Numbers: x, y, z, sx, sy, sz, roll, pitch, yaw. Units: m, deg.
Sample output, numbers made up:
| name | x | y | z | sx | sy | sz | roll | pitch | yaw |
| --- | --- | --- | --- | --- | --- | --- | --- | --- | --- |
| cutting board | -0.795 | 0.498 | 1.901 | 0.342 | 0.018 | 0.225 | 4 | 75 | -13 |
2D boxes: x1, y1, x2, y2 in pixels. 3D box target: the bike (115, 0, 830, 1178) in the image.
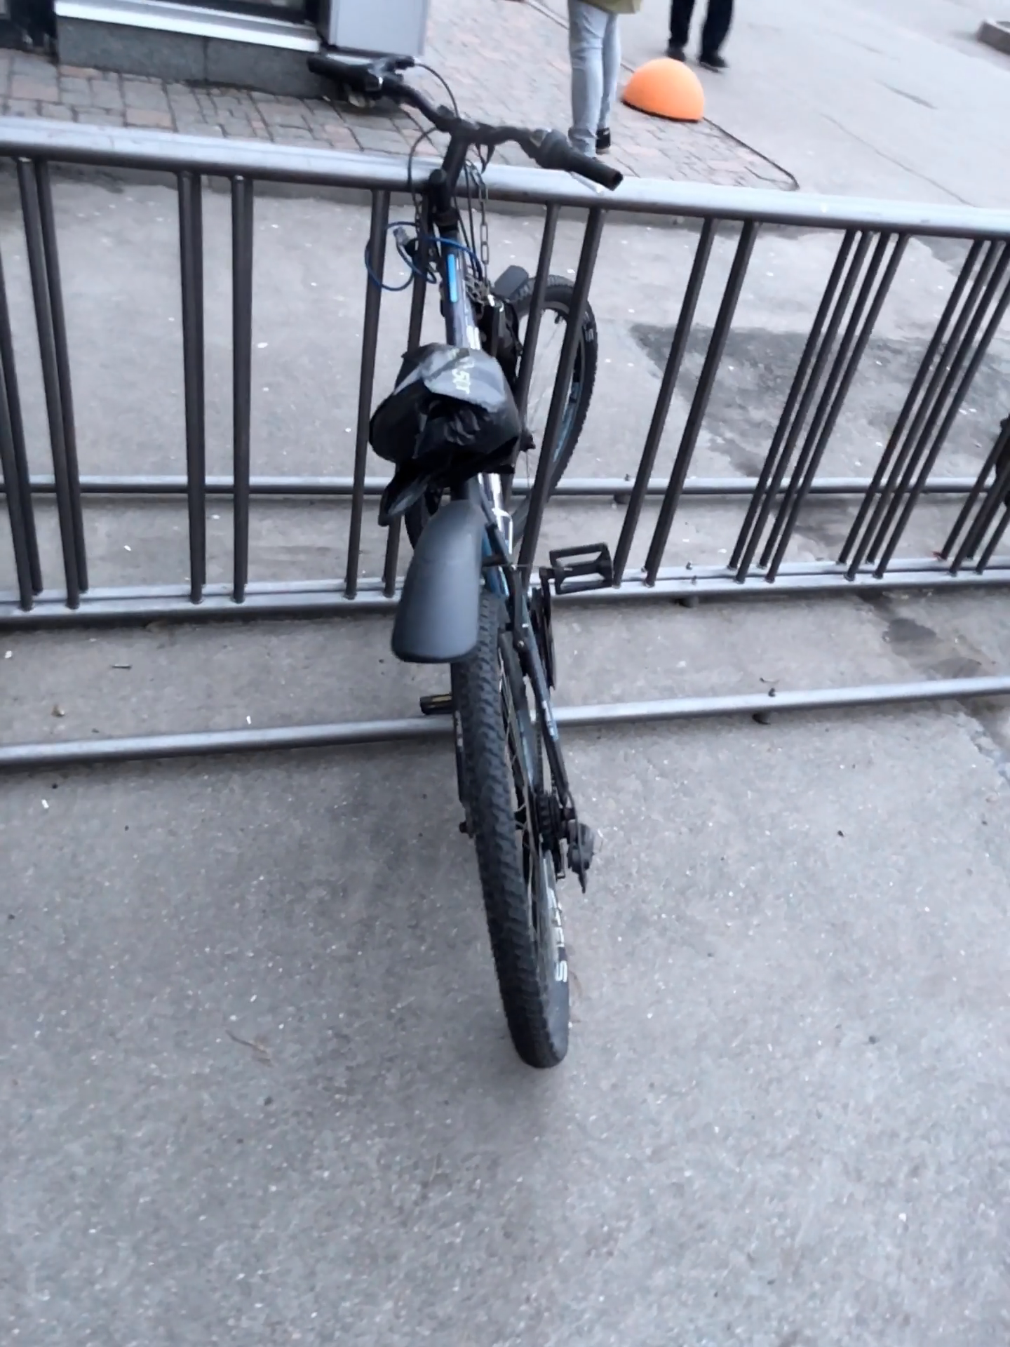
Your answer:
| name | x | y | z | sx | sy | sz | roll | pitch | yaw |
| --- | --- | --- | --- | --- | --- | --- | --- | --- | --- |
| bike | -0.024 | -0.300 | 1.716 | 0.534 | 1.050 | 1.594 | 11 | 41 | -3 |
